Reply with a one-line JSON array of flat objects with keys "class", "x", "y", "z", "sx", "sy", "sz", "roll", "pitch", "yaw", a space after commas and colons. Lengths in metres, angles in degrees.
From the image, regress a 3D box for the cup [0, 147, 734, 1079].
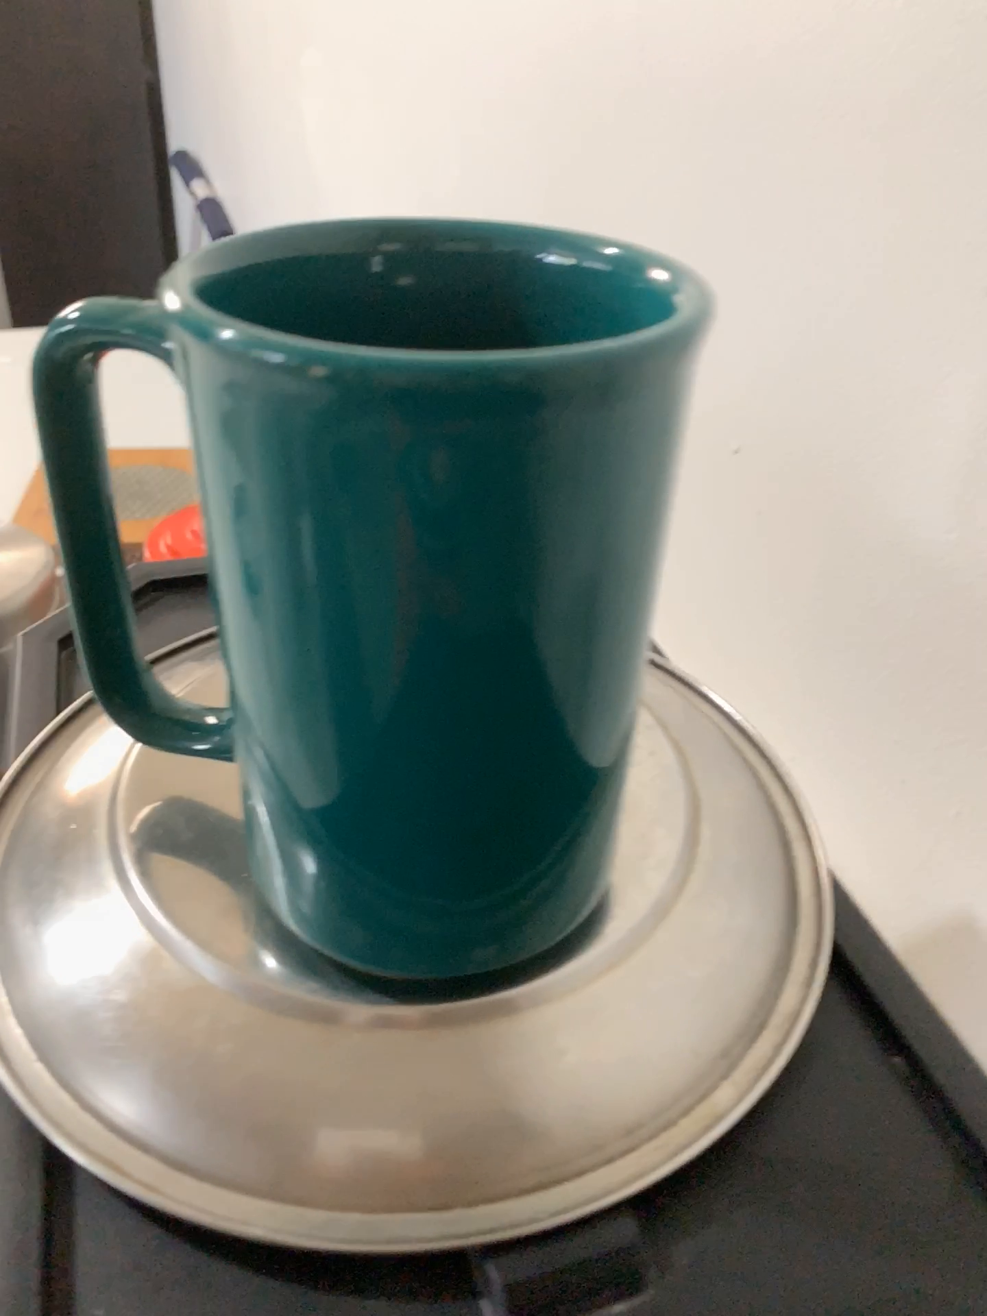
[{"class": "cup", "x": -0.033, "y": -0.013, "z": 0.181, "sx": 0.120, "sy": 0.119, "sz": 0.081, "roll": 12, "pitch": 35, "yaw": 12}]
